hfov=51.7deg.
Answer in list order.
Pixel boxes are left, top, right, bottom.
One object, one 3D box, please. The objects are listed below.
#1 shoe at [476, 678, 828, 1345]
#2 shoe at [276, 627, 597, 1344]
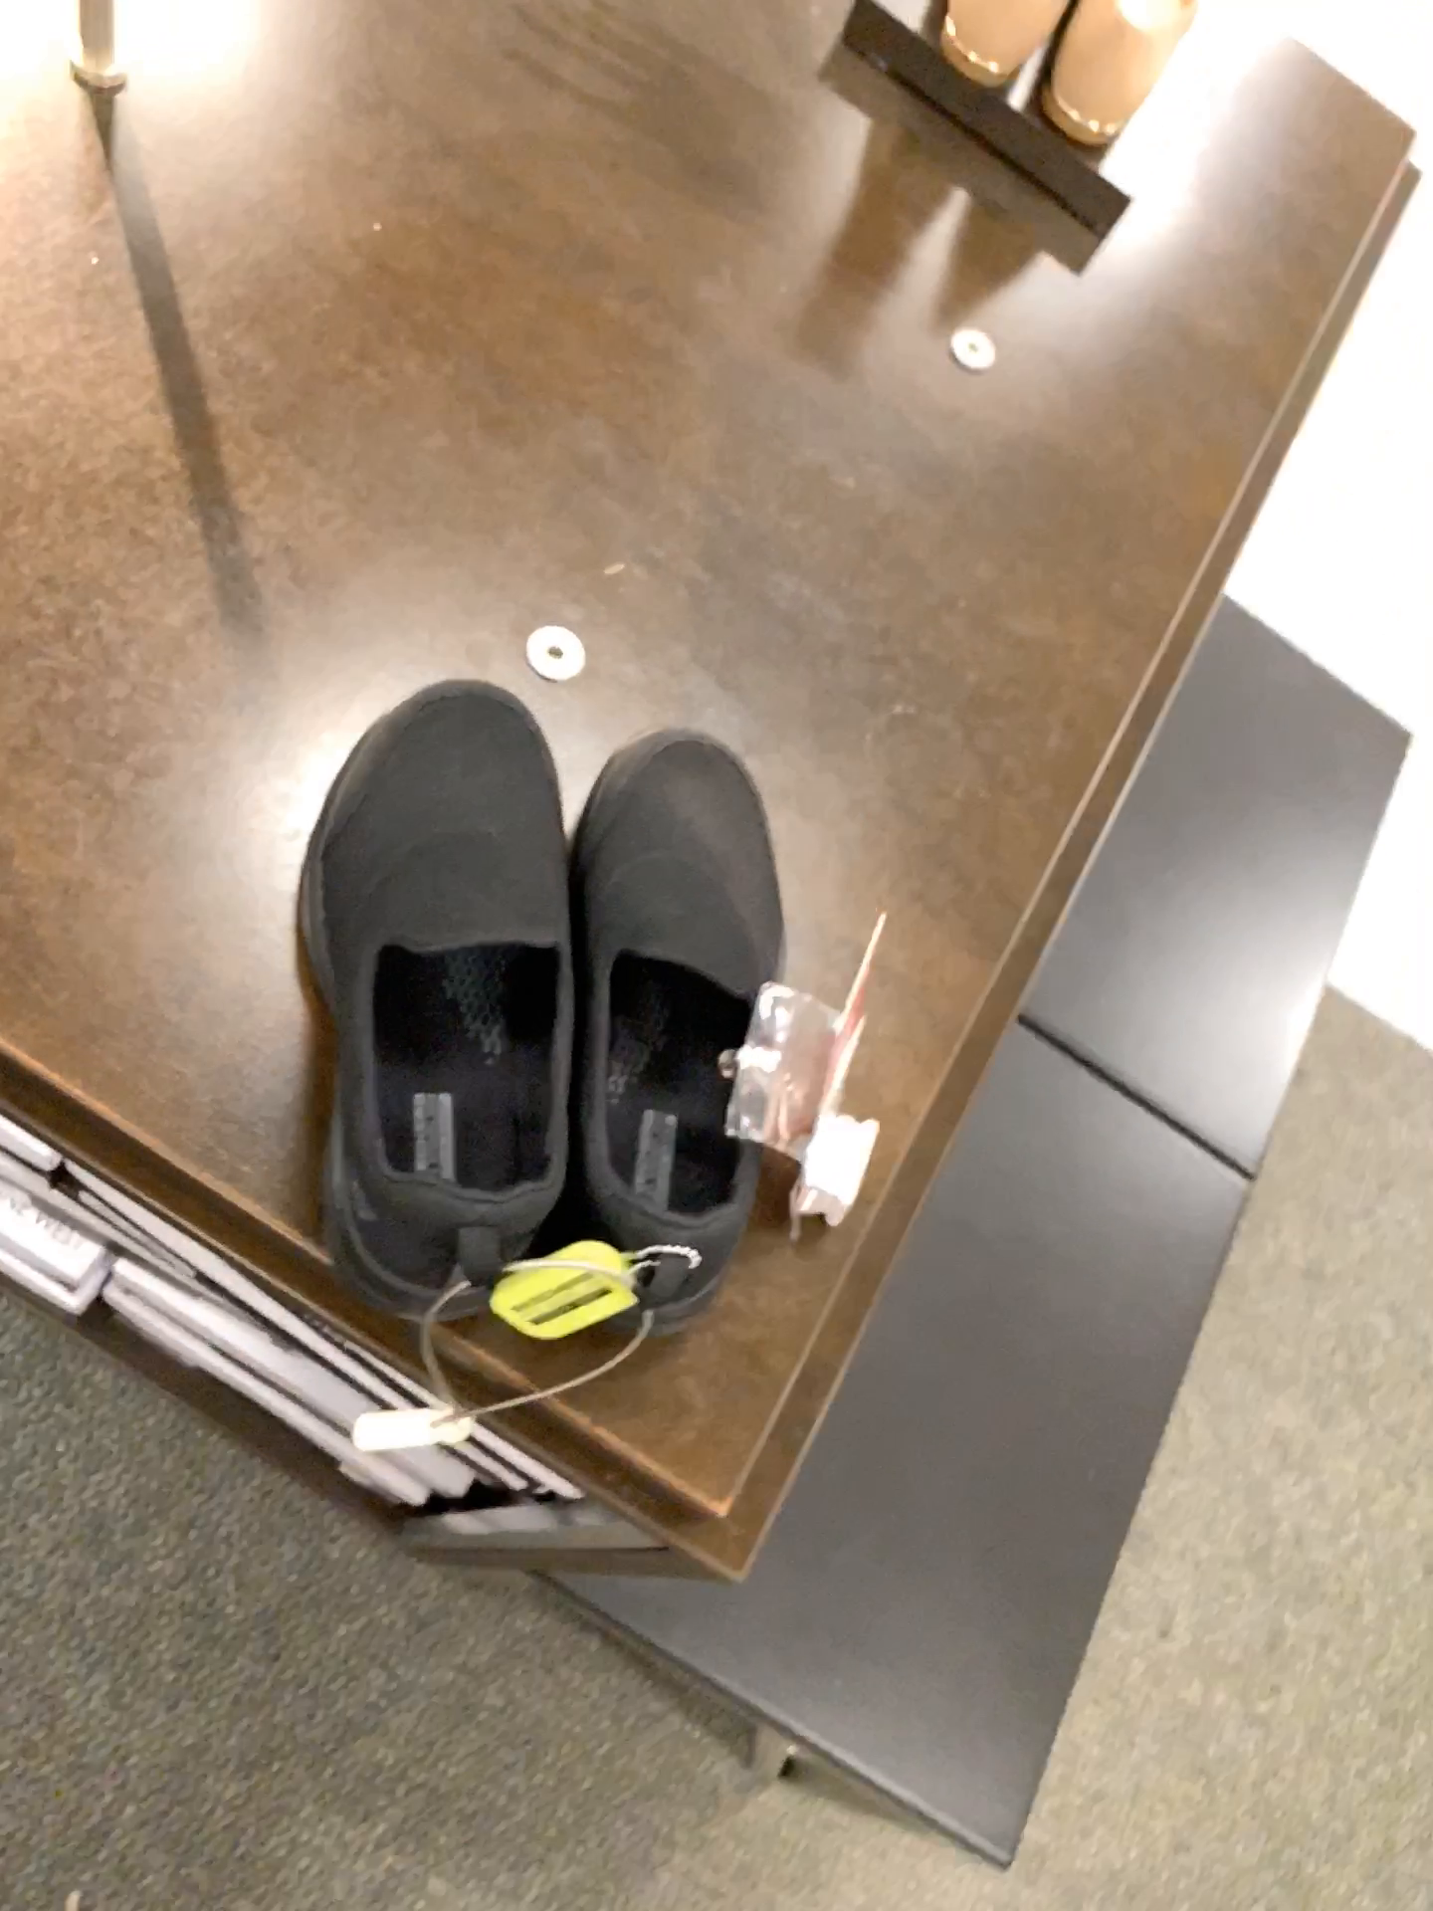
[{"bbox_3d":[-0.024,0.026,0.589,0.094,0.110,0.230,11,66,-16],"label":"shoe"},{"bbox_3d":[-0.107,0.016,0.564,0.094,0.110,0.244,5,67,-19],"label":"shoe"}]
